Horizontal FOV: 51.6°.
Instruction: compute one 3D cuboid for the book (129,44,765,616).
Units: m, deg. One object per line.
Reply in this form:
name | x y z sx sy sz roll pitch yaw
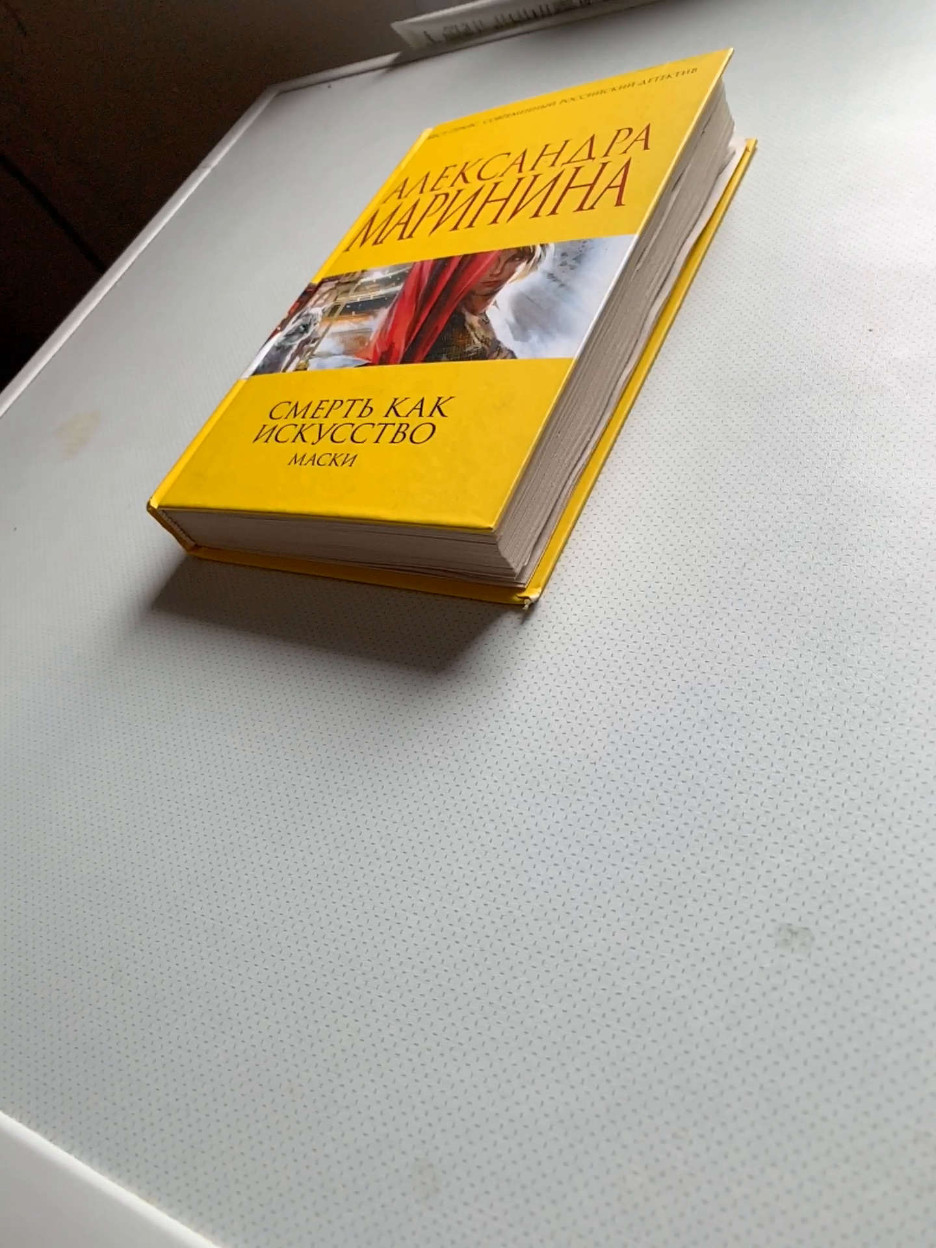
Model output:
book | 0.000 -0.093 0.287 0.120 0.030 0.189 8 58 34
